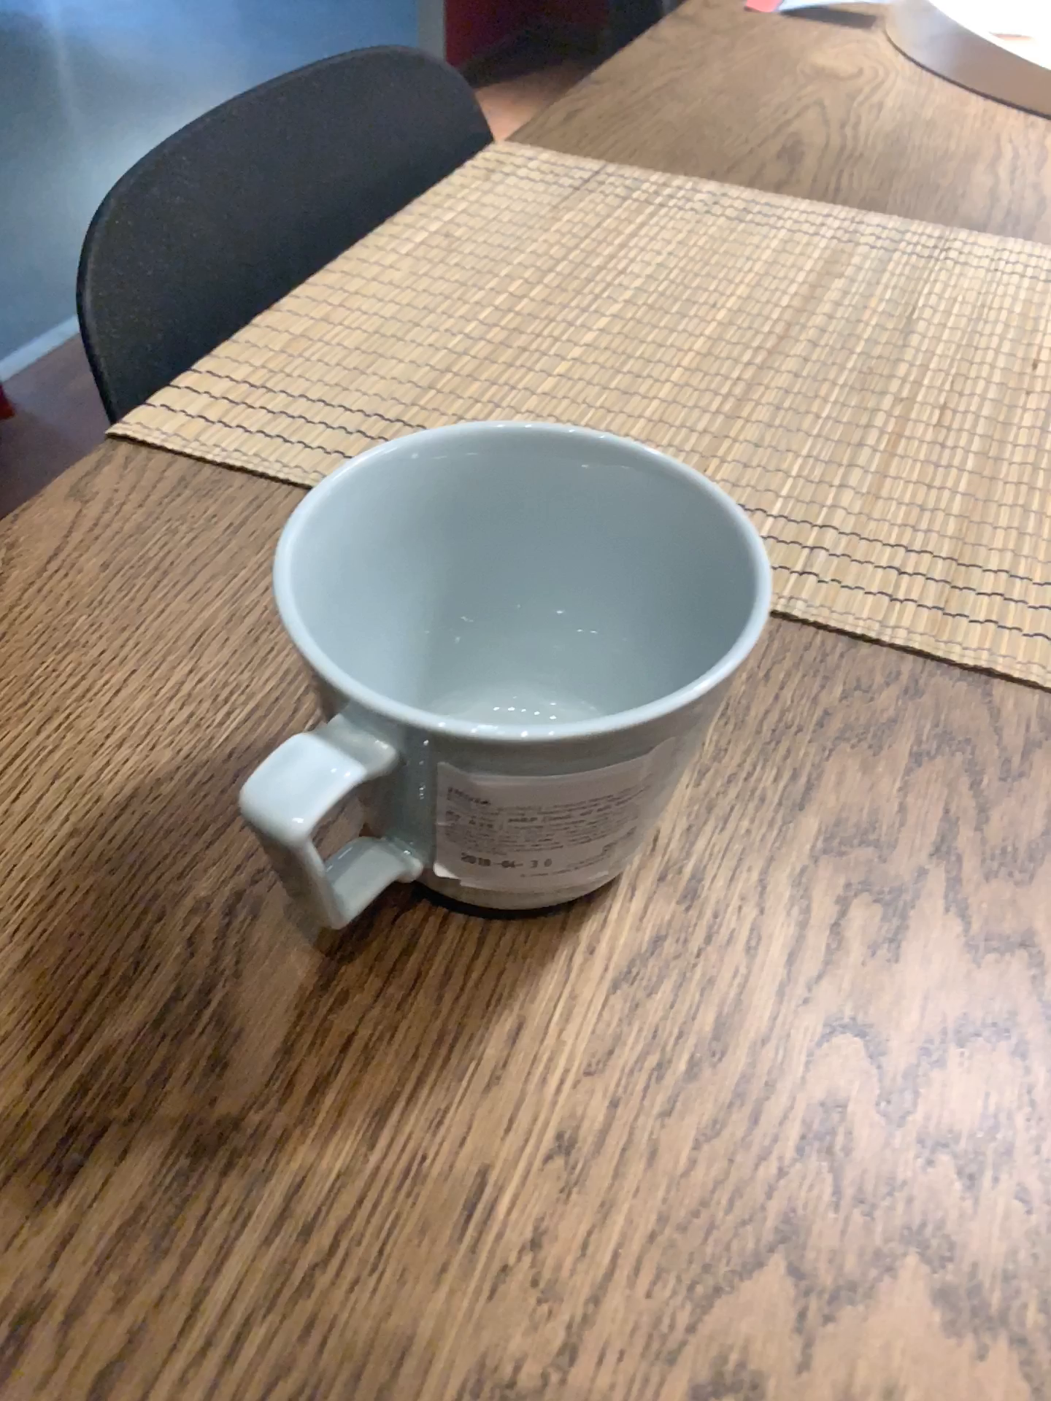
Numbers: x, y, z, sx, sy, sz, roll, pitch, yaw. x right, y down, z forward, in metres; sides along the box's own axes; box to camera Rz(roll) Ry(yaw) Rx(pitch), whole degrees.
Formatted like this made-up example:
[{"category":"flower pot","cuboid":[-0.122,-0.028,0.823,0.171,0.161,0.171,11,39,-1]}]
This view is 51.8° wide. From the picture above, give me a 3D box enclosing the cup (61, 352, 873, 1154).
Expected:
[{"category":"cup","cuboid":[-0.009,0.002,0.269,0.110,0.100,0.140,31,51,25]}]
